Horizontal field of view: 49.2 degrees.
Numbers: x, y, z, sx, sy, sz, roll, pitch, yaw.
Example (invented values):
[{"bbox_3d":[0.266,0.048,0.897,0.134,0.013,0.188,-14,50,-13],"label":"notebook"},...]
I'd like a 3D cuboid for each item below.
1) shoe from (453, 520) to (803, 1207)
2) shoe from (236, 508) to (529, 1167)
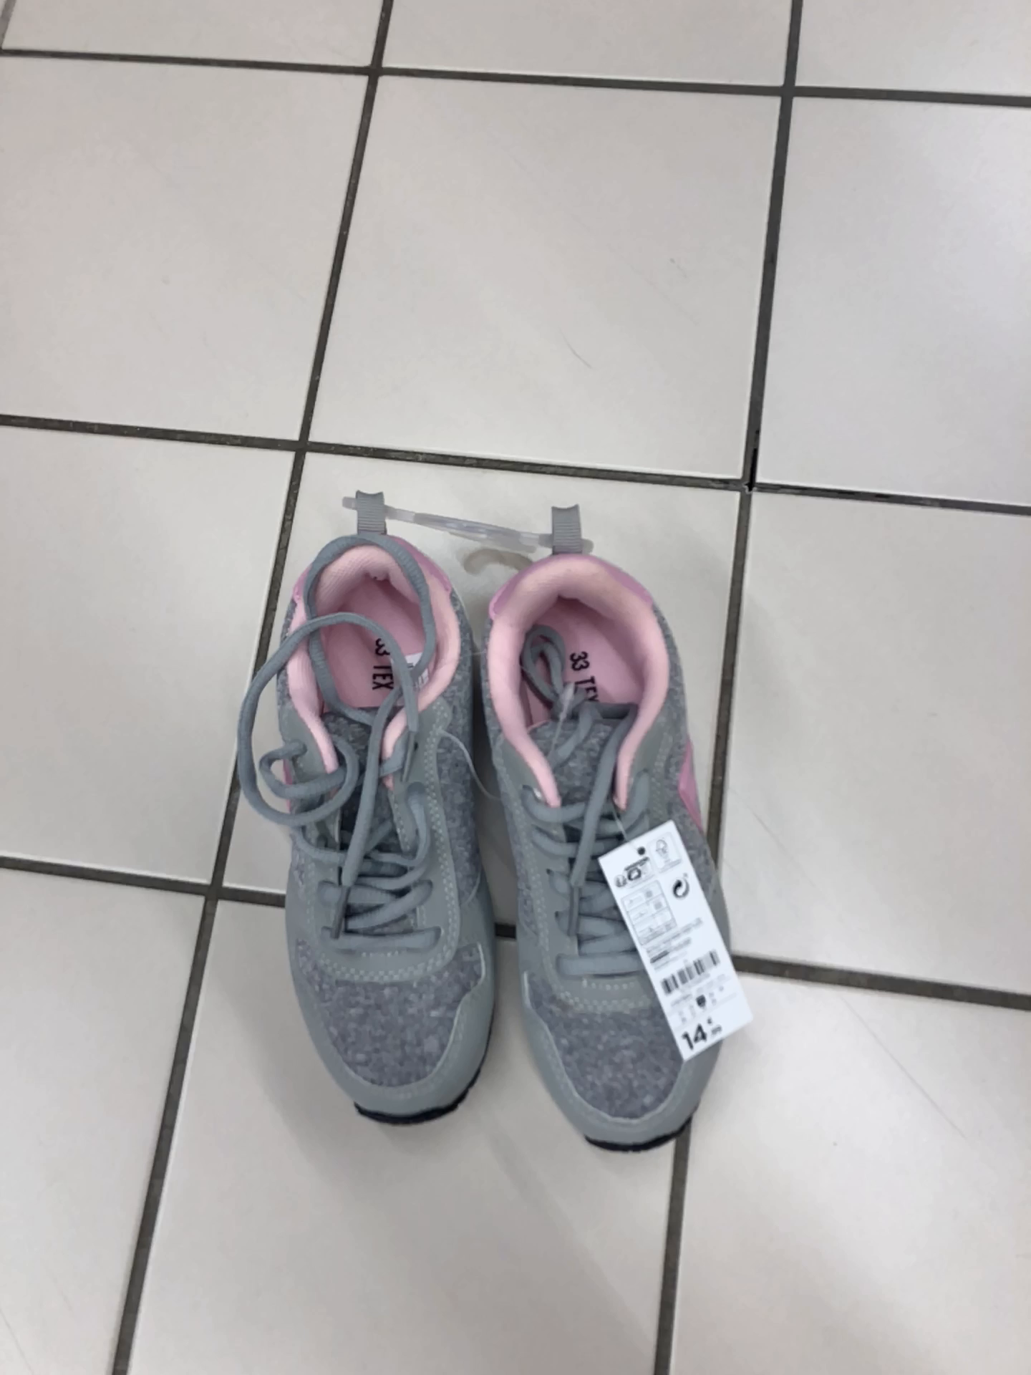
[{"bbox_3d":[0.036,0.060,0.410,0.082,0.084,0.214,-9,76,3],"label":"shoe"},{"bbox_3d":[-0.048,0.053,0.419,0.082,0.084,0.214,-6,76,4],"label":"shoe"}]
